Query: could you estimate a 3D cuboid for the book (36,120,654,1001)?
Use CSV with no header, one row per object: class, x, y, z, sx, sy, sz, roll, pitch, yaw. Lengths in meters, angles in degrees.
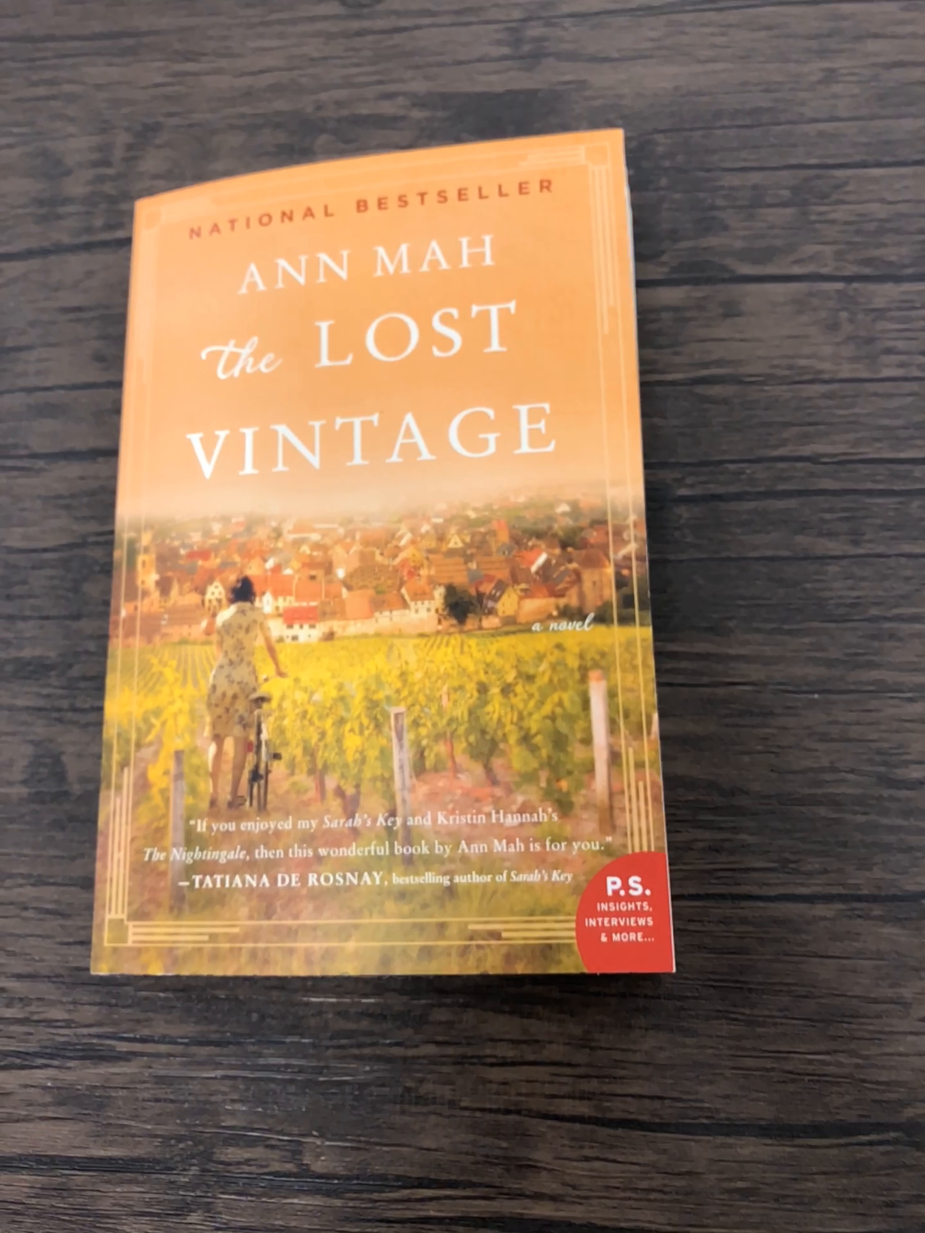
book,-0.027,-0.013,0.258,0.134,0.040,0.200,-3,78,8
